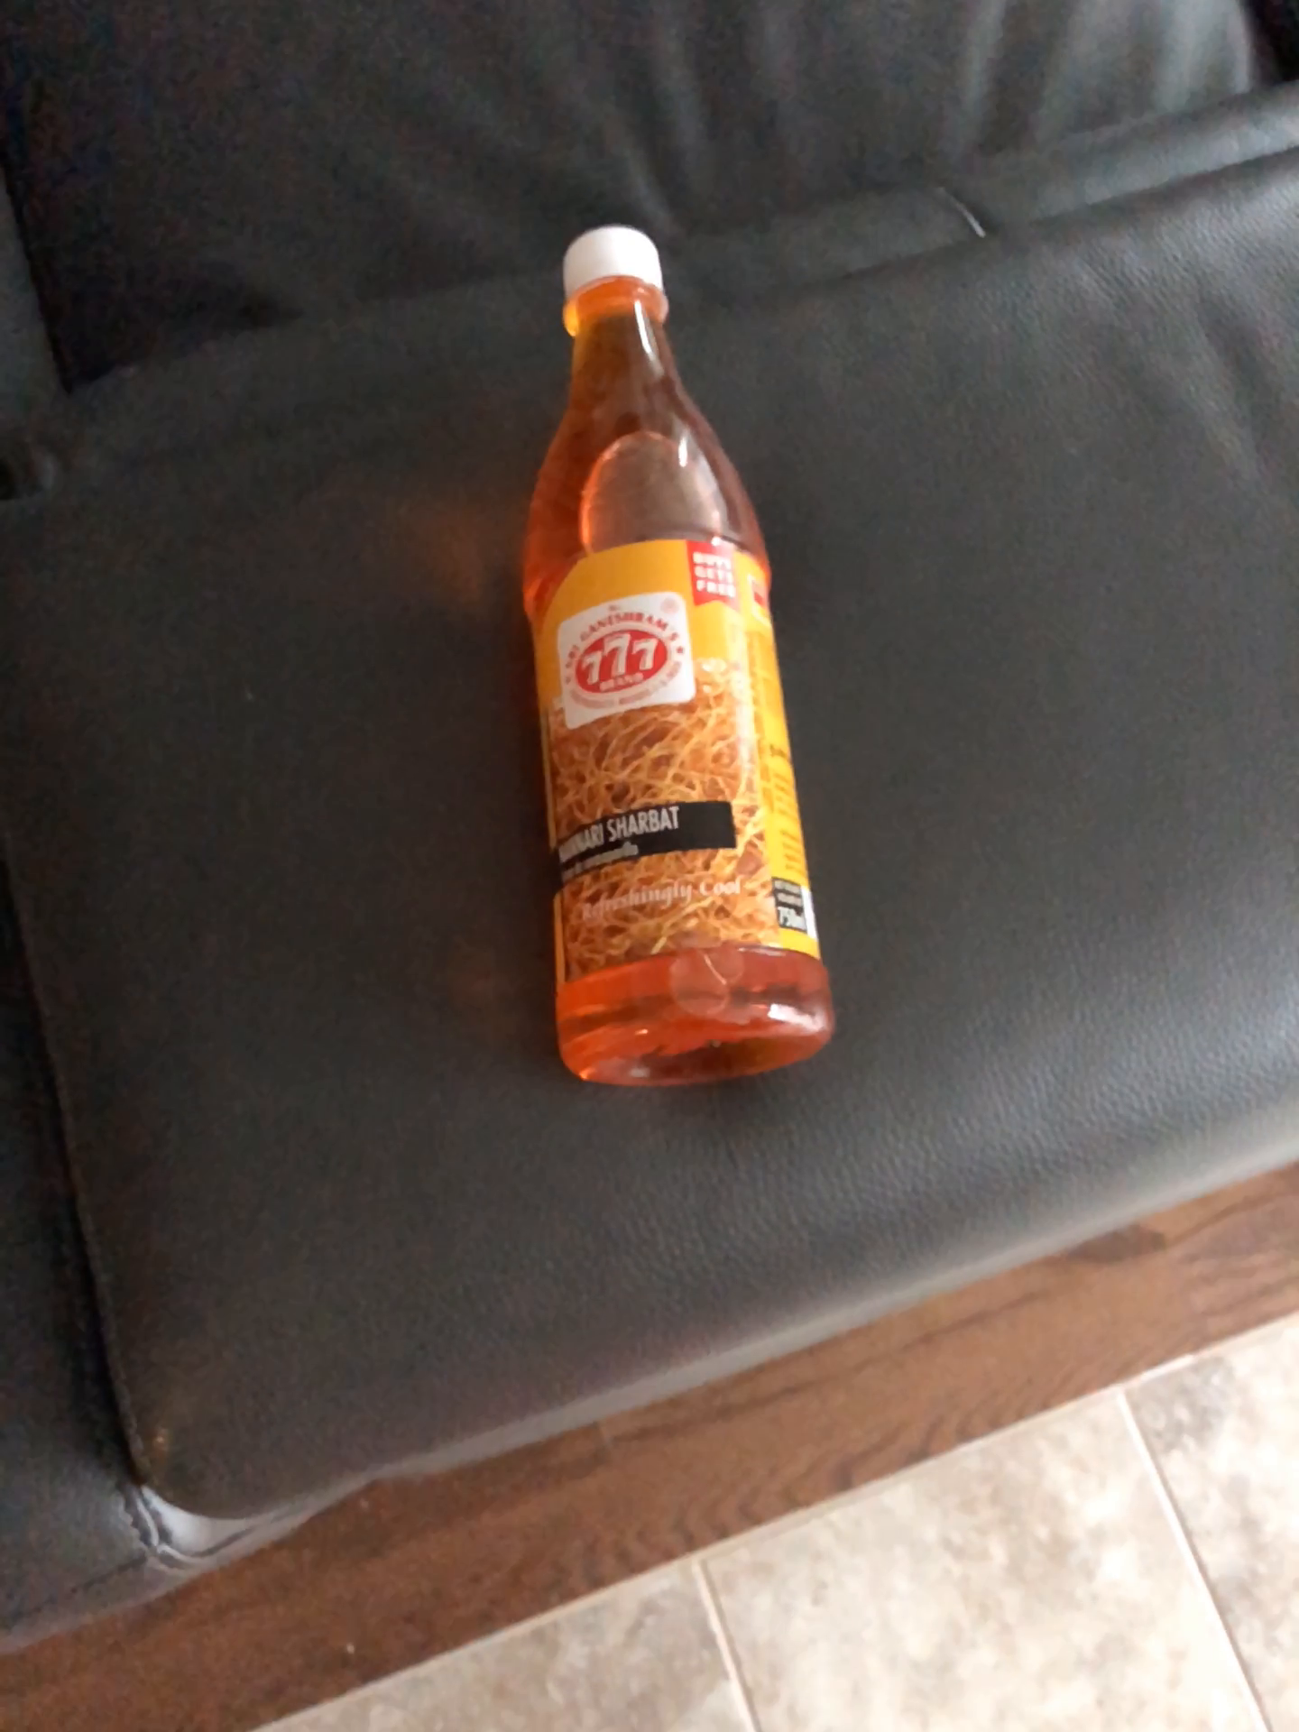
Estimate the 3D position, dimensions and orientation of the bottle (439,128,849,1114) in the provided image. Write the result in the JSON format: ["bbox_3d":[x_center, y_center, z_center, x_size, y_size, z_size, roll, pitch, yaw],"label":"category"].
[{"bbox_3d":[-0.005,-0.076,0.434,0.080,0.070,0.280,-10,70,11],"label":"bottle"}]
